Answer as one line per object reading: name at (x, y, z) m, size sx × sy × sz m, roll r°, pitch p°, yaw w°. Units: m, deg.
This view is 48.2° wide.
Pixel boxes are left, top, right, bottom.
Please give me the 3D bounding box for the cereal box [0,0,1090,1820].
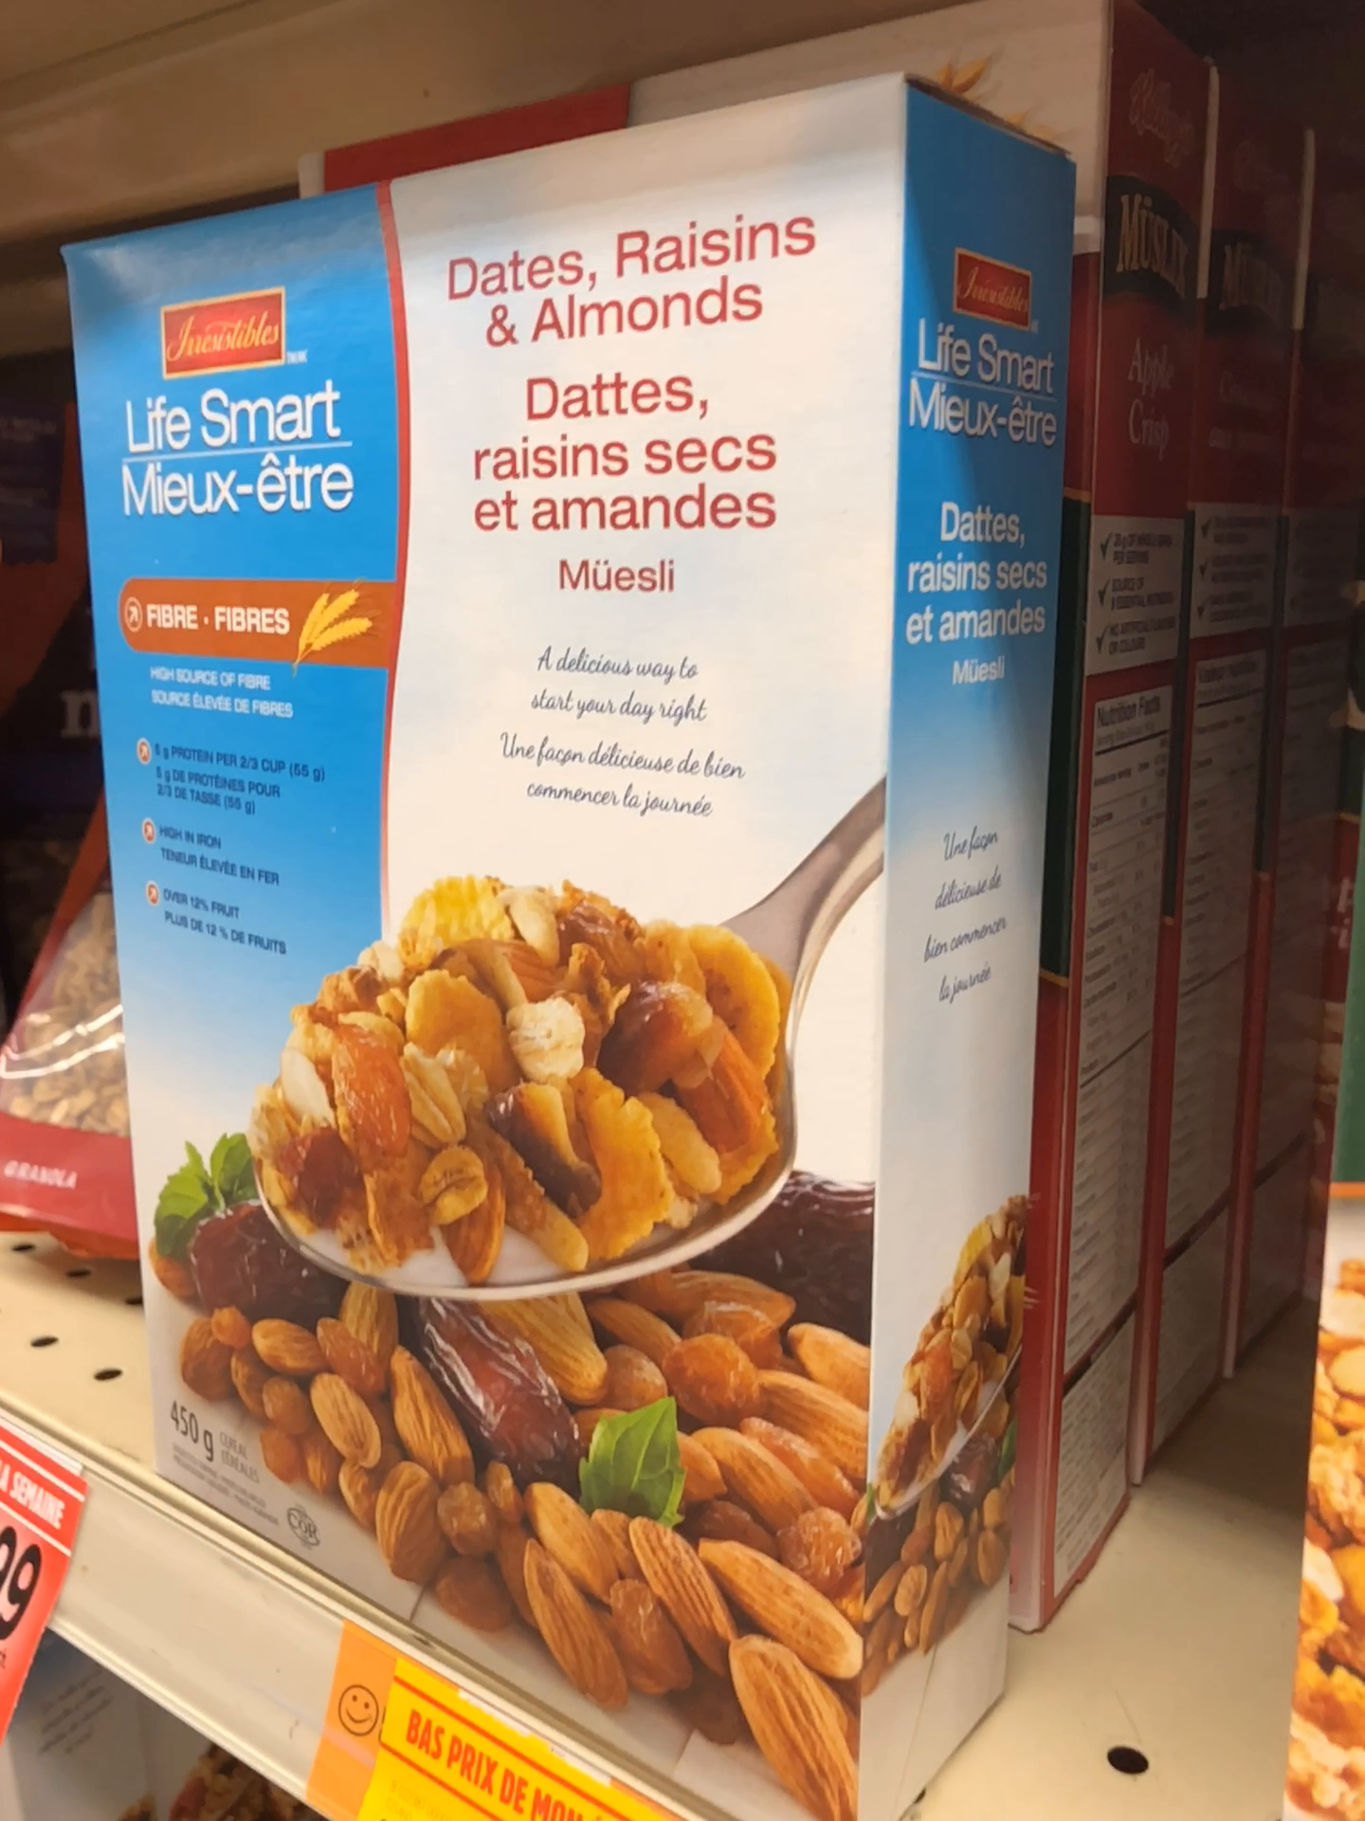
cereal box at (-0.030, 0.003, 0.248) m, size 0.170 × 0.239 × 0.050 m, roll 9°, pitch 17°, yaw 37°
